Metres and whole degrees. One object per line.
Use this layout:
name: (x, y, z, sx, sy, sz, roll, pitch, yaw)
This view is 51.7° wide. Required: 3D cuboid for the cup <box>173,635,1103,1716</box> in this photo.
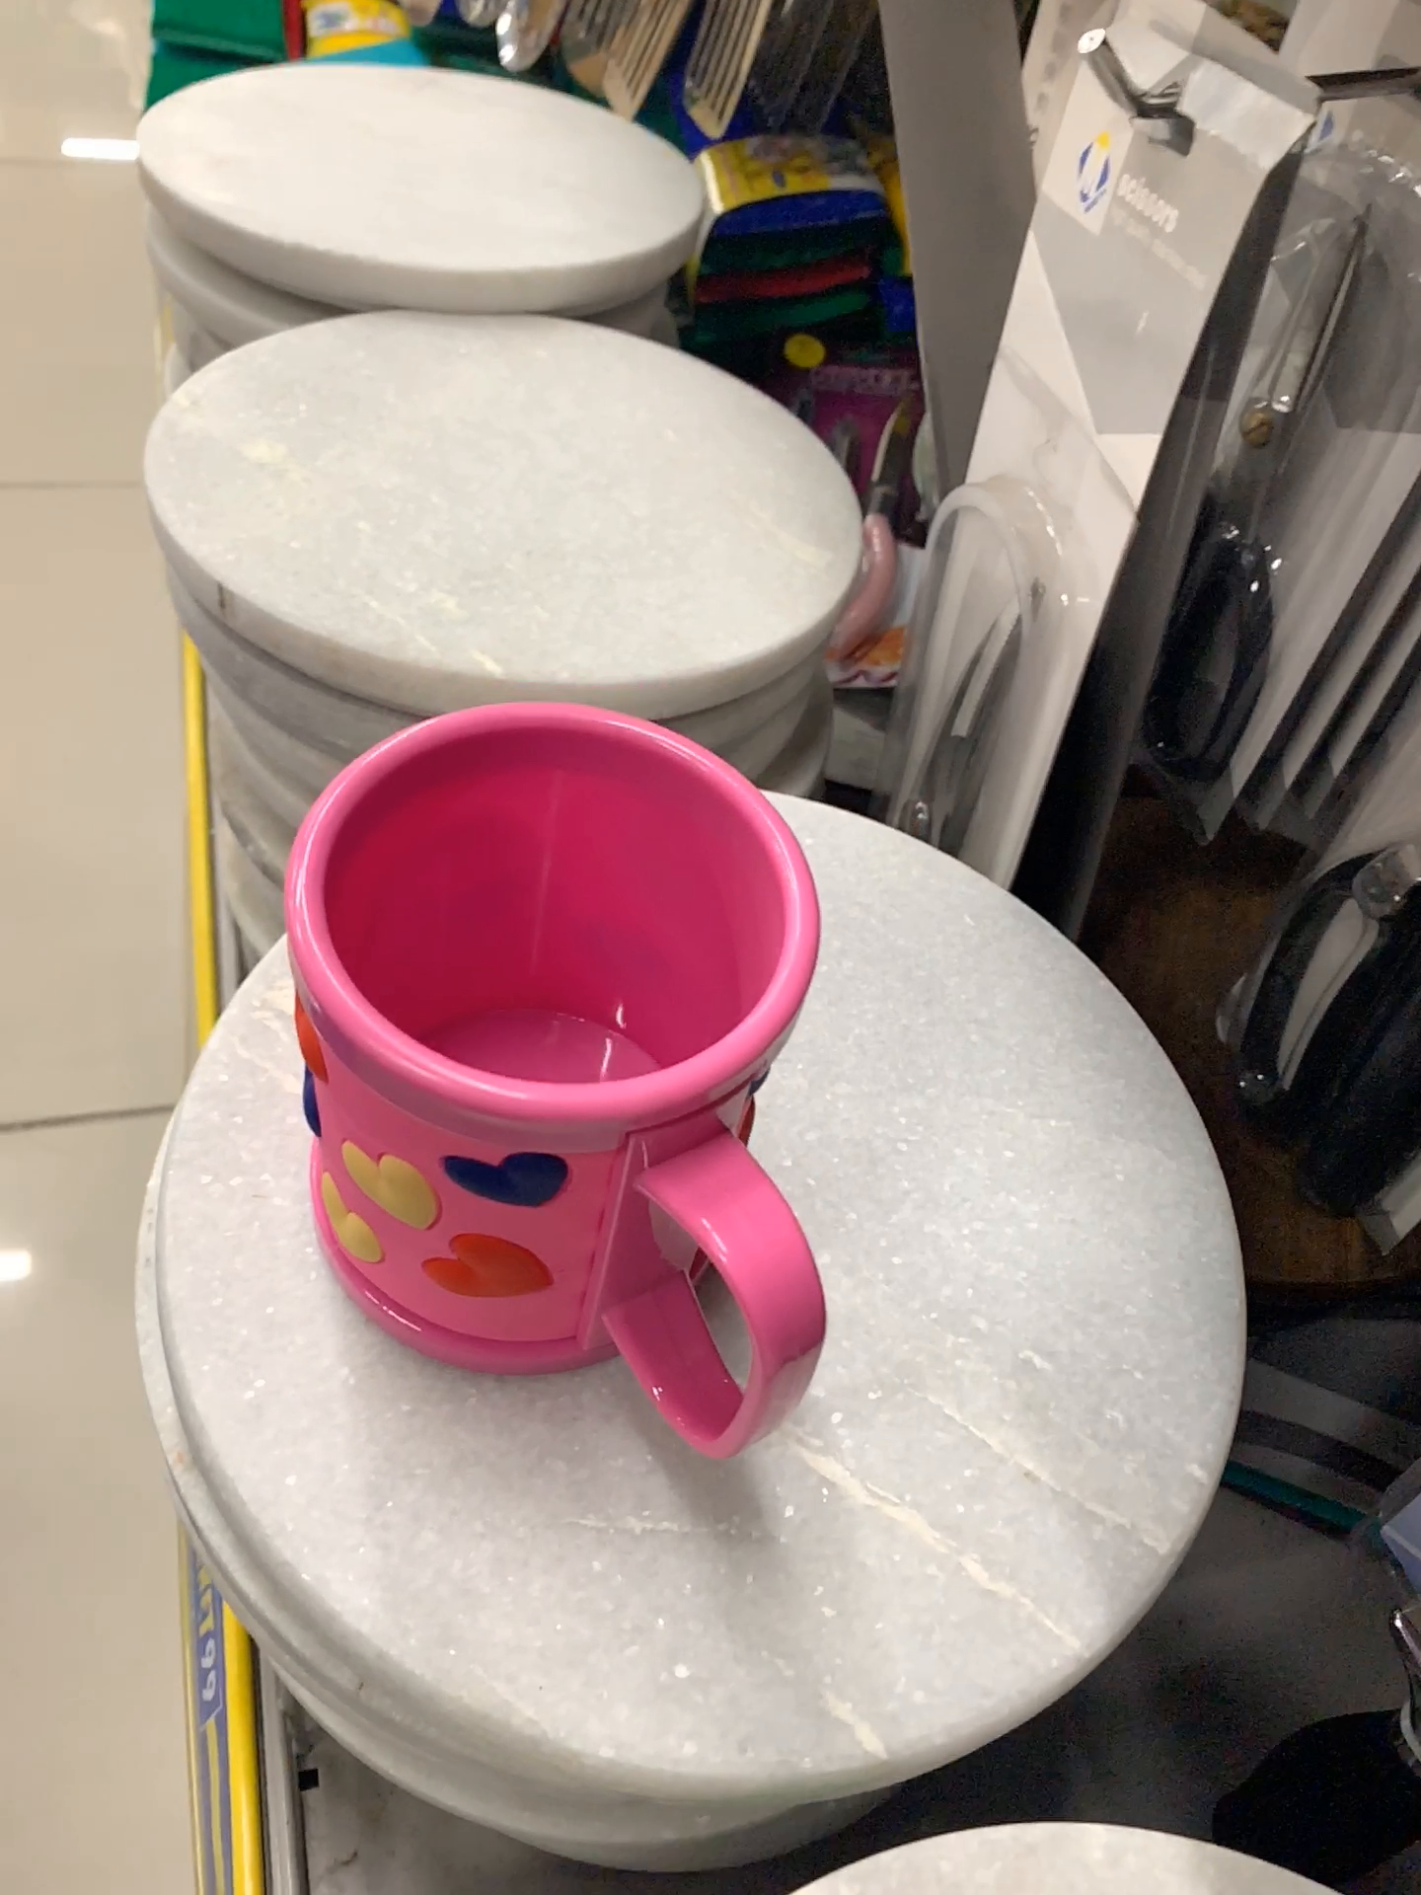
cup: (-0.021, 0.033, 0.240, 0.080, 0.100, 0.120, -21, 55, -26)
